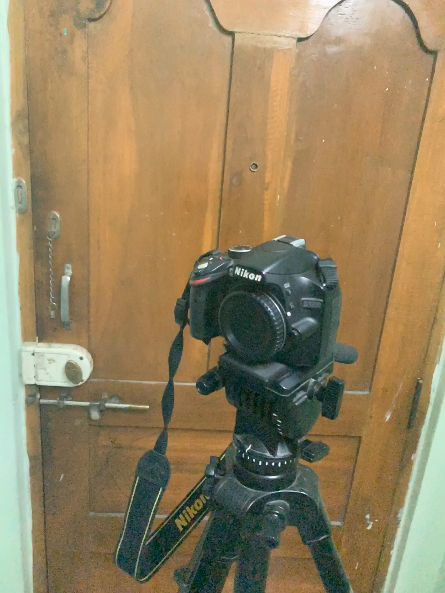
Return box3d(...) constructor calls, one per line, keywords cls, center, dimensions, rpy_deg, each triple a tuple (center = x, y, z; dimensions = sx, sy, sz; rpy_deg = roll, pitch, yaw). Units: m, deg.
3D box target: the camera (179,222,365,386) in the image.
box3d(cls="camera", center=(0.038, -0.003, 0.384), dimensions=(0.118, 0.096, 0.086), rpy_deg=(18, 22, 37))
